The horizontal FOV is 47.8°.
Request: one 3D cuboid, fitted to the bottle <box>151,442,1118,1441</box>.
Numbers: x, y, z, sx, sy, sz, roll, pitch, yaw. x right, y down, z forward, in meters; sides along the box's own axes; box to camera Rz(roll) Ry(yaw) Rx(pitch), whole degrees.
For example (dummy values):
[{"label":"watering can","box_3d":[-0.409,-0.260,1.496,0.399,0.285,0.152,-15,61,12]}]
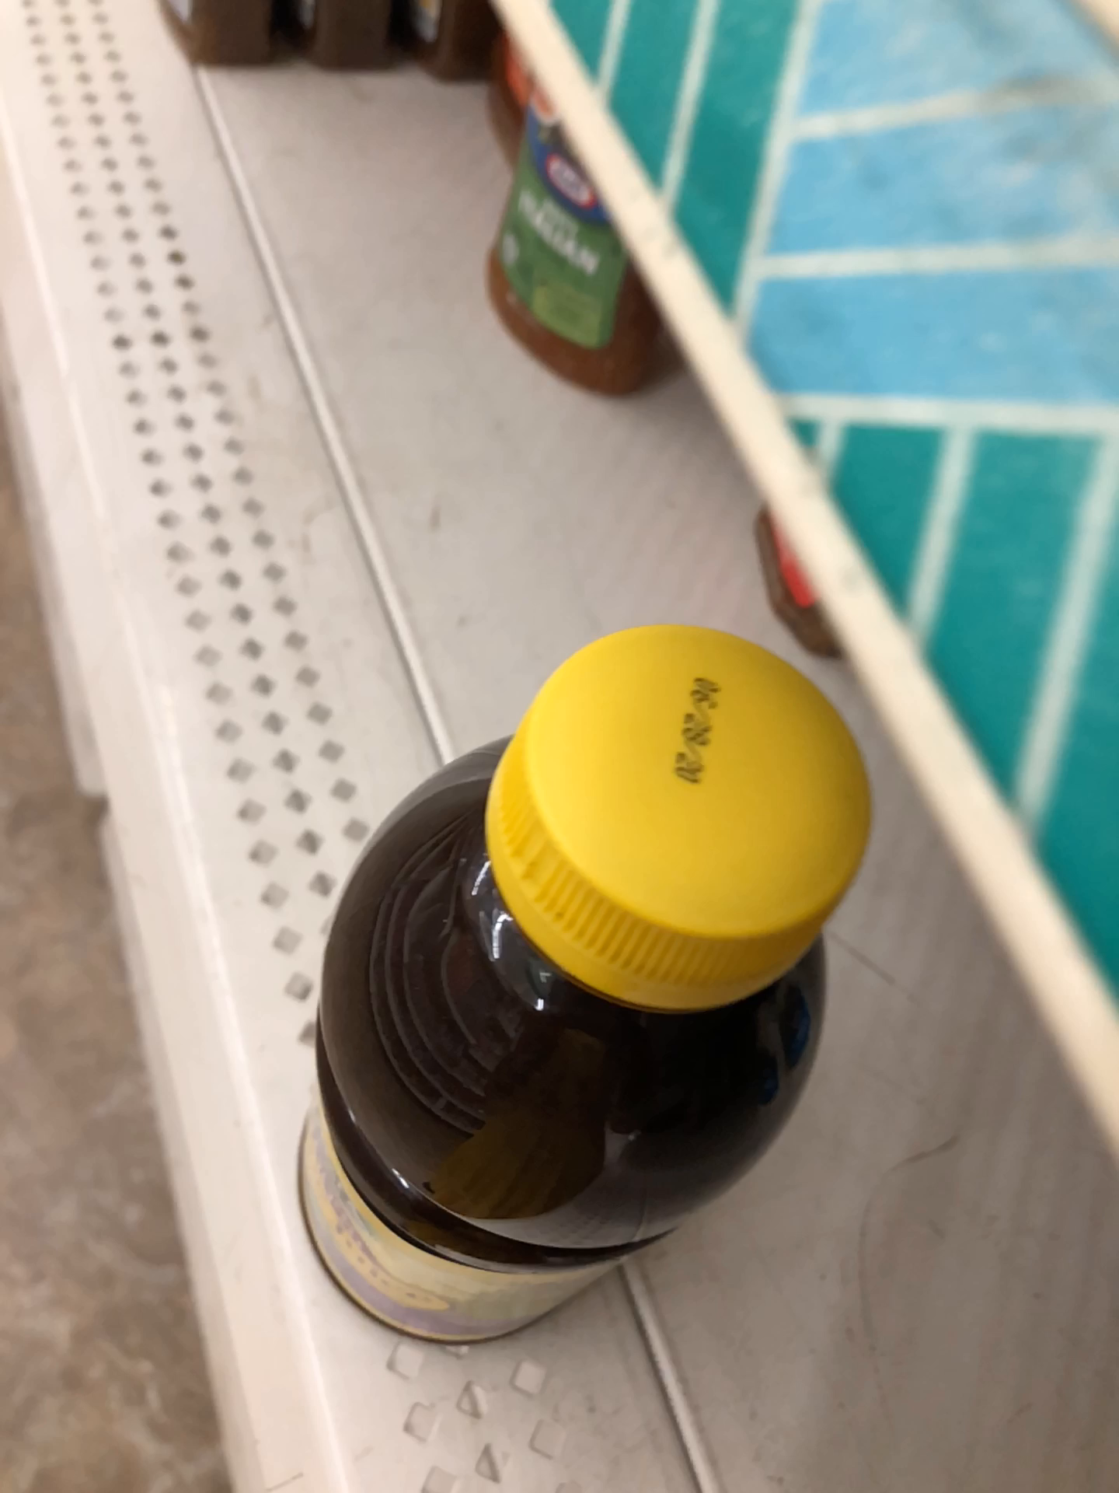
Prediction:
[{"label":"bottle","box_3d":[-0.009,0.050,0.205,0.080,0.181,0.080,6,59,-10]}]
